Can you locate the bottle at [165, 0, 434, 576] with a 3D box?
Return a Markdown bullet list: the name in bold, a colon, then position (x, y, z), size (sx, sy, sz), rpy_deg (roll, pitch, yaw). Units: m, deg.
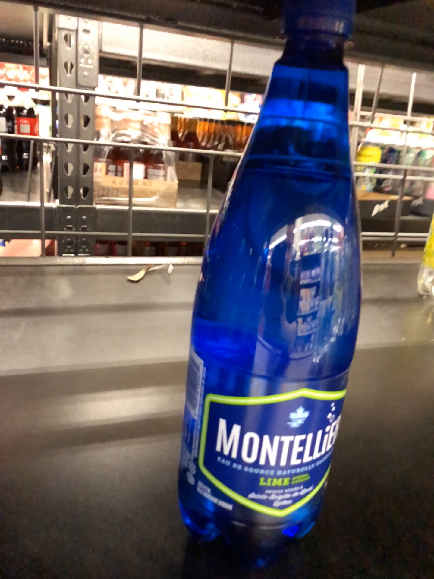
- **bottle**: position (0.038, 0.000, 0.262), size (0.100, 0.288, 0.091), rpy_deg (0, 20, -18)
